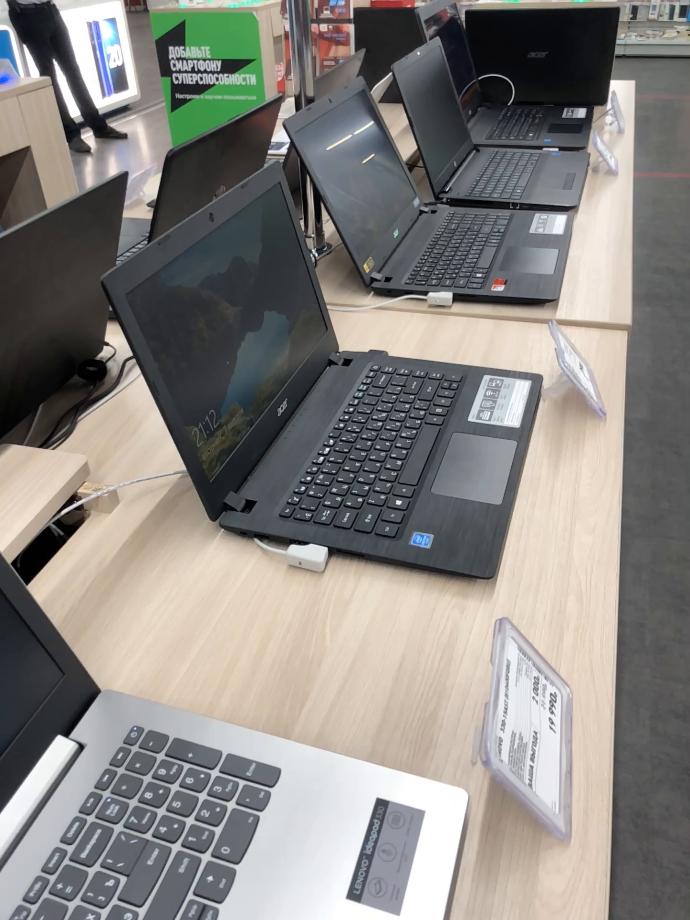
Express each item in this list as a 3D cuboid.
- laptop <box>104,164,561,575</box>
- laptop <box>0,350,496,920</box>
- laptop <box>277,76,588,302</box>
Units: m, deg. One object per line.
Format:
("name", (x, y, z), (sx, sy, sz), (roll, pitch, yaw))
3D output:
("laptop", (0.023, -0.116, 0.718), (0.301, 0.223, 0.344), (9, 36, 16))
("laptop", (-0.143, 0.172, 0.284), (0.337, 0.236, 0.364), (10, 37, 17))
("laptop", (0.153, -0.436, 1.161), (0.376, 0.216, 0.381), (8, 36, 15))
